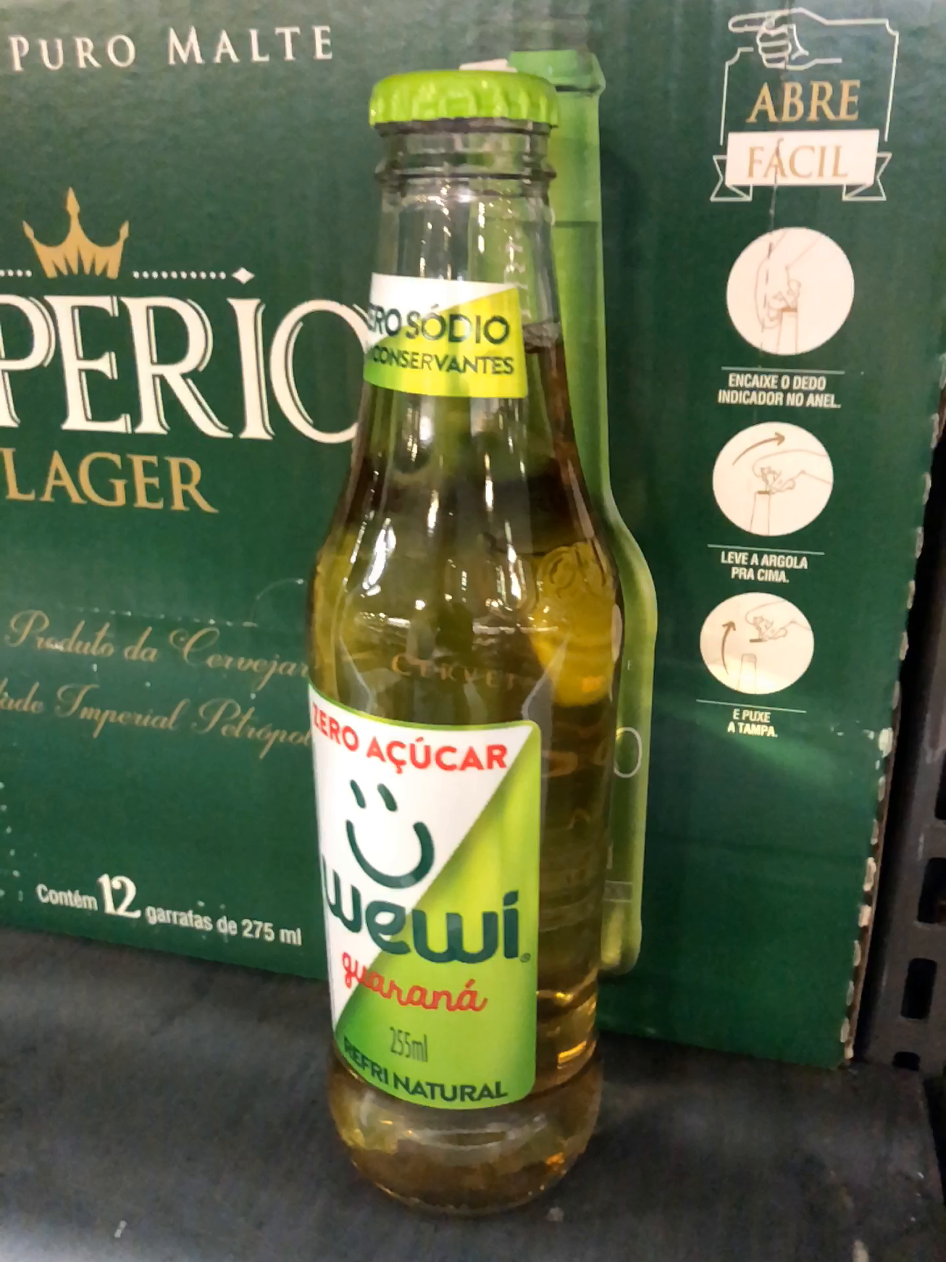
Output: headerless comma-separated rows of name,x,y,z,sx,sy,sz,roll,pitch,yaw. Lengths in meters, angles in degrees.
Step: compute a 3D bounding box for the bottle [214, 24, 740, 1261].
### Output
bottle,0.003,0.011,0.189,0.060,0.199,0.050,10,23,26
